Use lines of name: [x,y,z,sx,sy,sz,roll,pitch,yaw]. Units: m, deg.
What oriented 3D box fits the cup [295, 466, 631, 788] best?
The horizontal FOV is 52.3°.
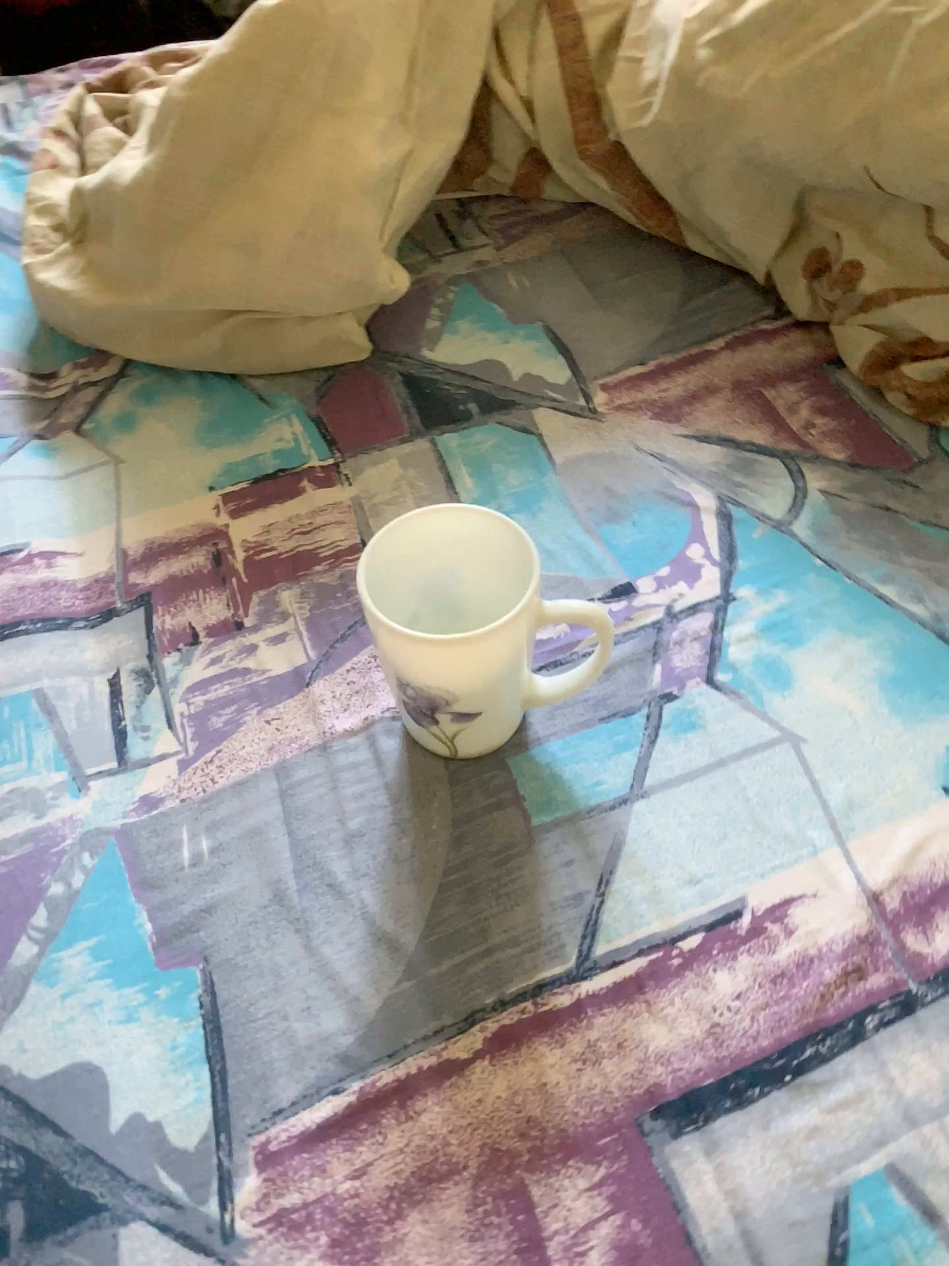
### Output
cup: [0.000,-0.002,0.437,0.120,0.099,0.081,12,56,13]
